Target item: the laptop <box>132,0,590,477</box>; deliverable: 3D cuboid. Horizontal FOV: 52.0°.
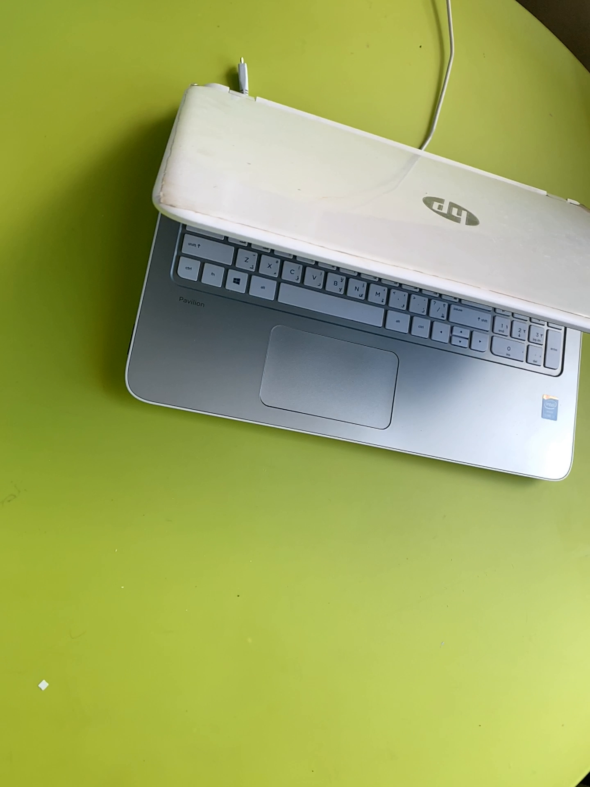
[{"bbox_3d":[0.100,-0.094,0.418,0.367,0.163,0.243,12,78,-15],"label":"laptop"}]
